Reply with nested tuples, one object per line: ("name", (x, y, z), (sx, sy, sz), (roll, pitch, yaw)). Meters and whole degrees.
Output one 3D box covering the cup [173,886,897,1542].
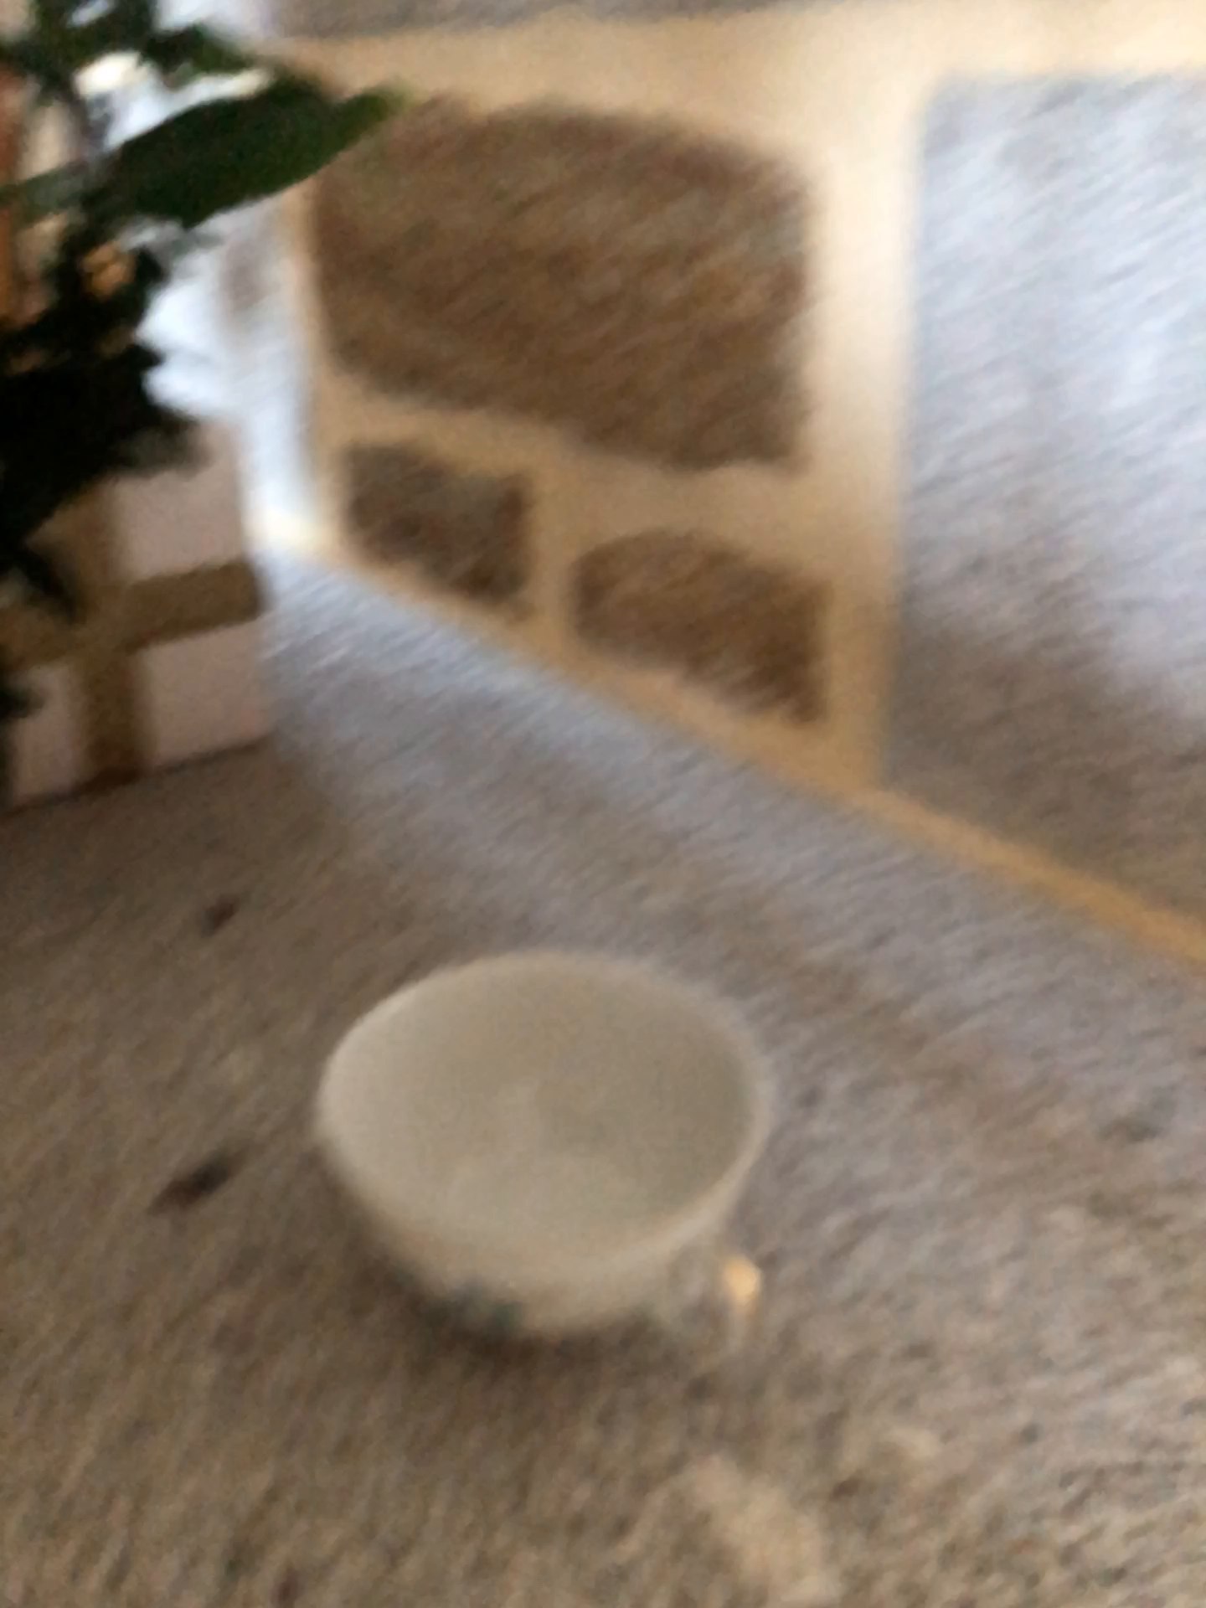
("cup", (-0.014, 0.069, 0.263), (0.110, 0.040, 0.091), (22, 33, 36))
